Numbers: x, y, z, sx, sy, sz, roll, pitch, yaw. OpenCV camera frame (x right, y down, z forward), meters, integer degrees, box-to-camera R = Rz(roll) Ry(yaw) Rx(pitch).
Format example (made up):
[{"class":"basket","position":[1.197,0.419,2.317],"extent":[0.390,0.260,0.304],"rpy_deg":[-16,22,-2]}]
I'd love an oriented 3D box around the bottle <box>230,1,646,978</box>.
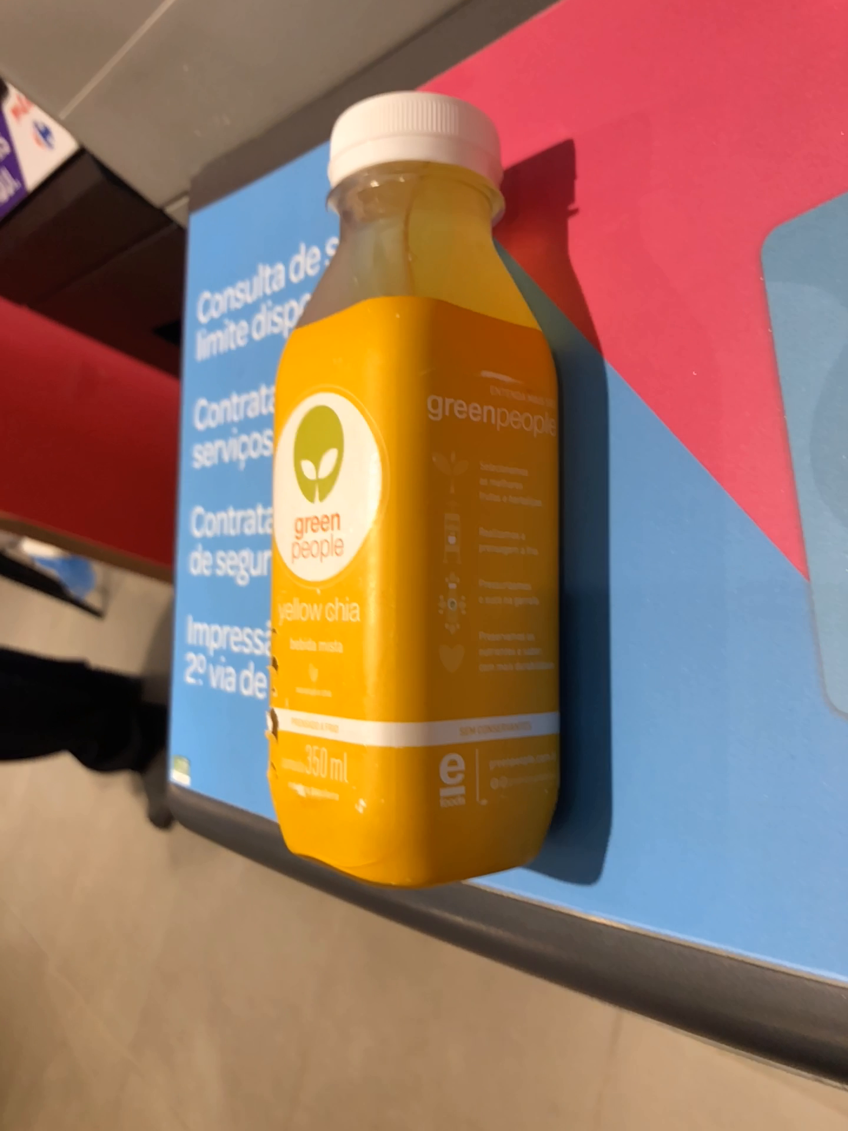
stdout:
[{"class":"bottle","position":[0.002,-0.014,0.217],"extent":[0.060,0.060,0.180],"rpy_deg":[2,88,52]}]
